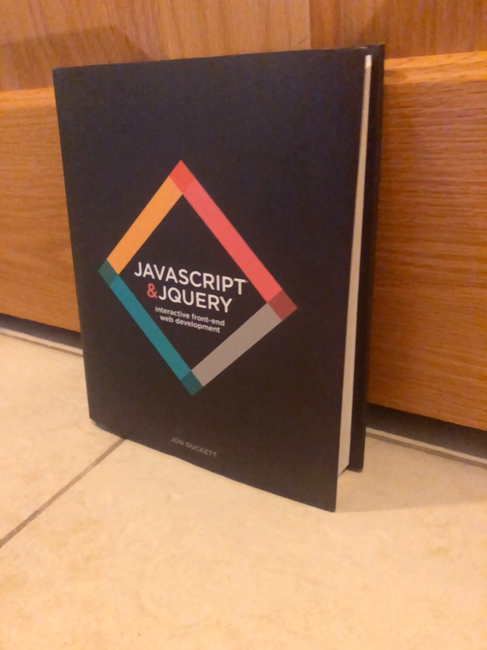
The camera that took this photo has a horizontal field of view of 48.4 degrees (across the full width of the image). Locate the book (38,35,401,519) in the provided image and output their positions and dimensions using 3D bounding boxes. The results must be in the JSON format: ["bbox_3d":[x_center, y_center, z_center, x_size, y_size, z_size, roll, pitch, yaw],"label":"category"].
[{"bbox_3d":[-0.022,-0.032,0.334,0.200,0.237,0.060,11,22,30],"label":"book"}]
